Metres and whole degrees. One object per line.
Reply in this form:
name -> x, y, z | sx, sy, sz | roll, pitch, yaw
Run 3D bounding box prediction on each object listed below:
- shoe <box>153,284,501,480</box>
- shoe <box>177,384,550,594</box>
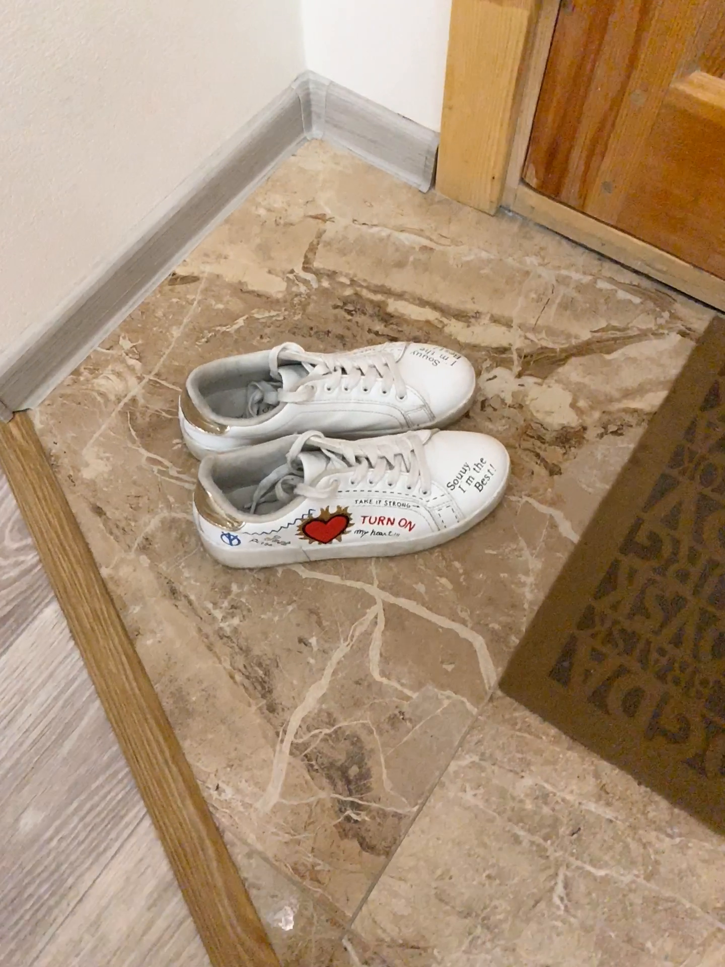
shoe -> -0.029, -0.082, 0.605 | 0.256, 0.080, 0.092 | -9, 64, -4
shoe -> -0.002, 0.005, 0.572 | 0.256, 0.080, 0.092 | -10, 64, -4
